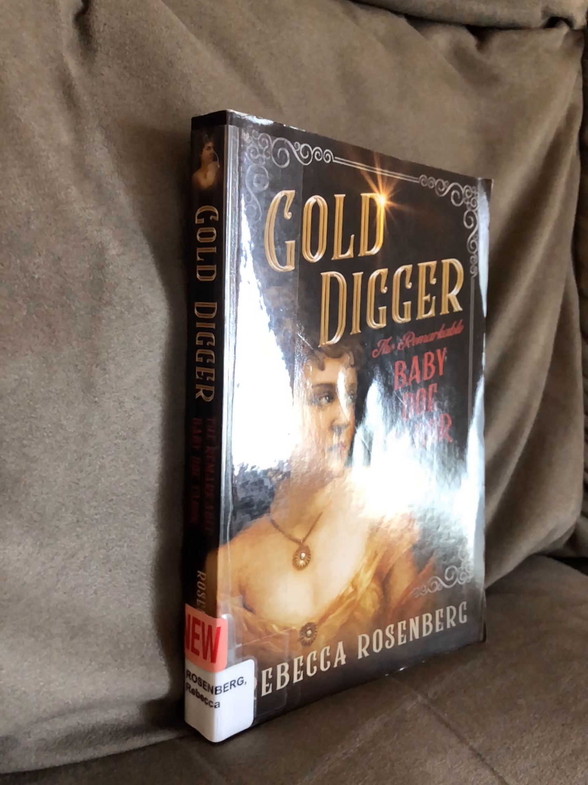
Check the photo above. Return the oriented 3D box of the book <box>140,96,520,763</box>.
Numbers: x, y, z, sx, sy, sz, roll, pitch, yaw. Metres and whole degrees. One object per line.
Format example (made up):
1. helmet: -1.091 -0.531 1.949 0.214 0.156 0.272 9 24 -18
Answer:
1. book: 0.024 0.009 0.250 0.150 0.200 0.030 -4 4 -33
